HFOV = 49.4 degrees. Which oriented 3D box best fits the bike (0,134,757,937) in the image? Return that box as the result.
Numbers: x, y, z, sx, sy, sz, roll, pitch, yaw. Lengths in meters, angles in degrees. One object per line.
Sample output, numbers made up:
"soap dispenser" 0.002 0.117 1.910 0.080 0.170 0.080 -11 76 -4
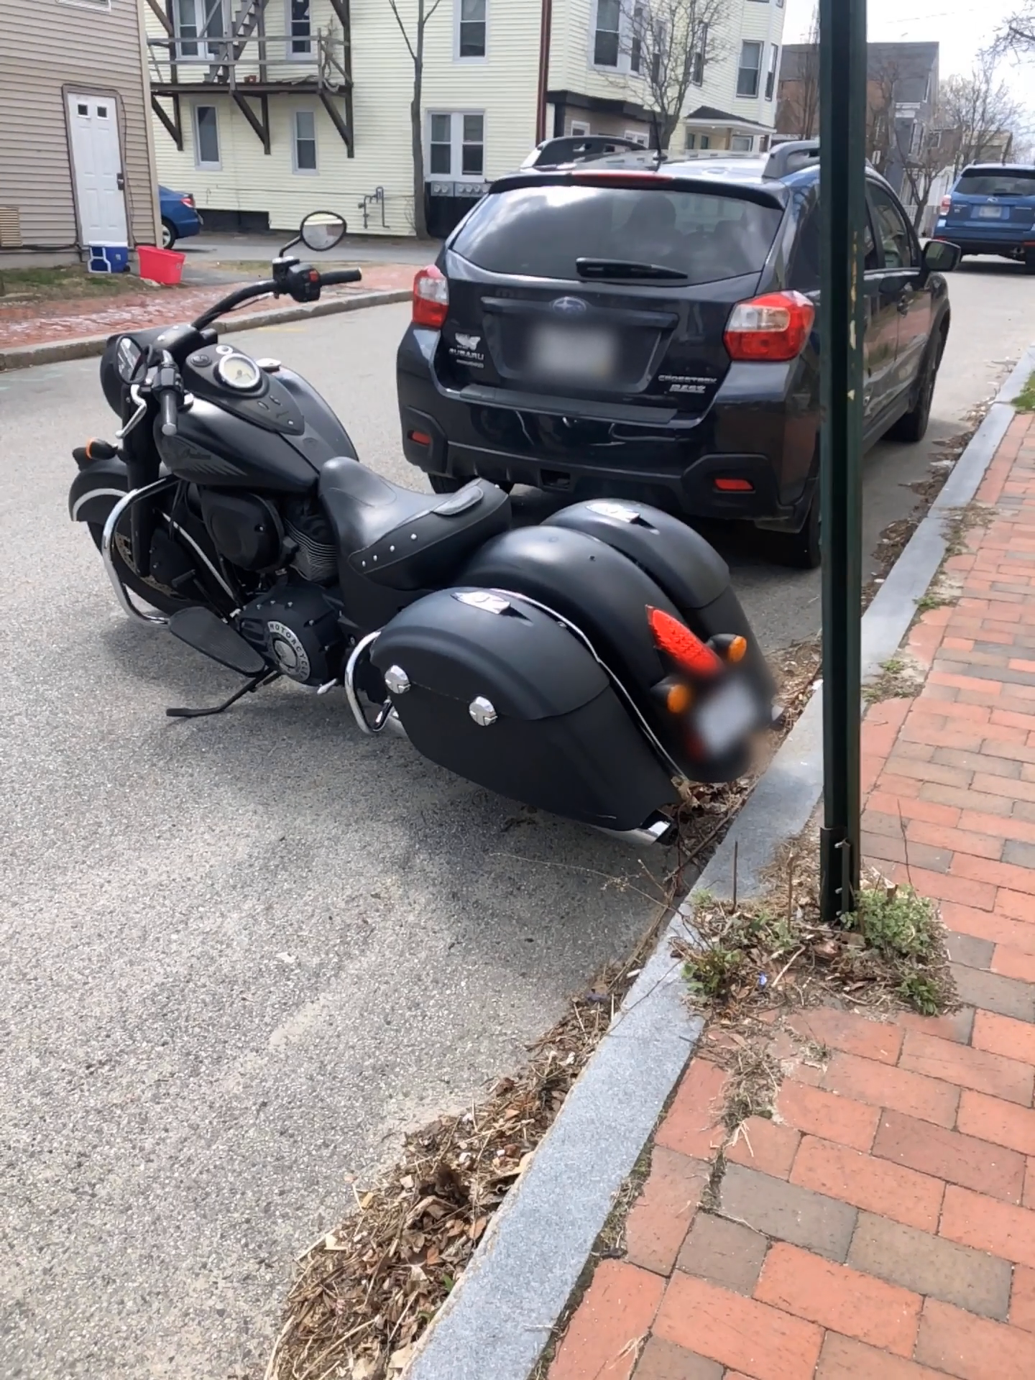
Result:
"bike" -0.354 -0.412 2.486 1.526 1.142 0.548 20 28 22
